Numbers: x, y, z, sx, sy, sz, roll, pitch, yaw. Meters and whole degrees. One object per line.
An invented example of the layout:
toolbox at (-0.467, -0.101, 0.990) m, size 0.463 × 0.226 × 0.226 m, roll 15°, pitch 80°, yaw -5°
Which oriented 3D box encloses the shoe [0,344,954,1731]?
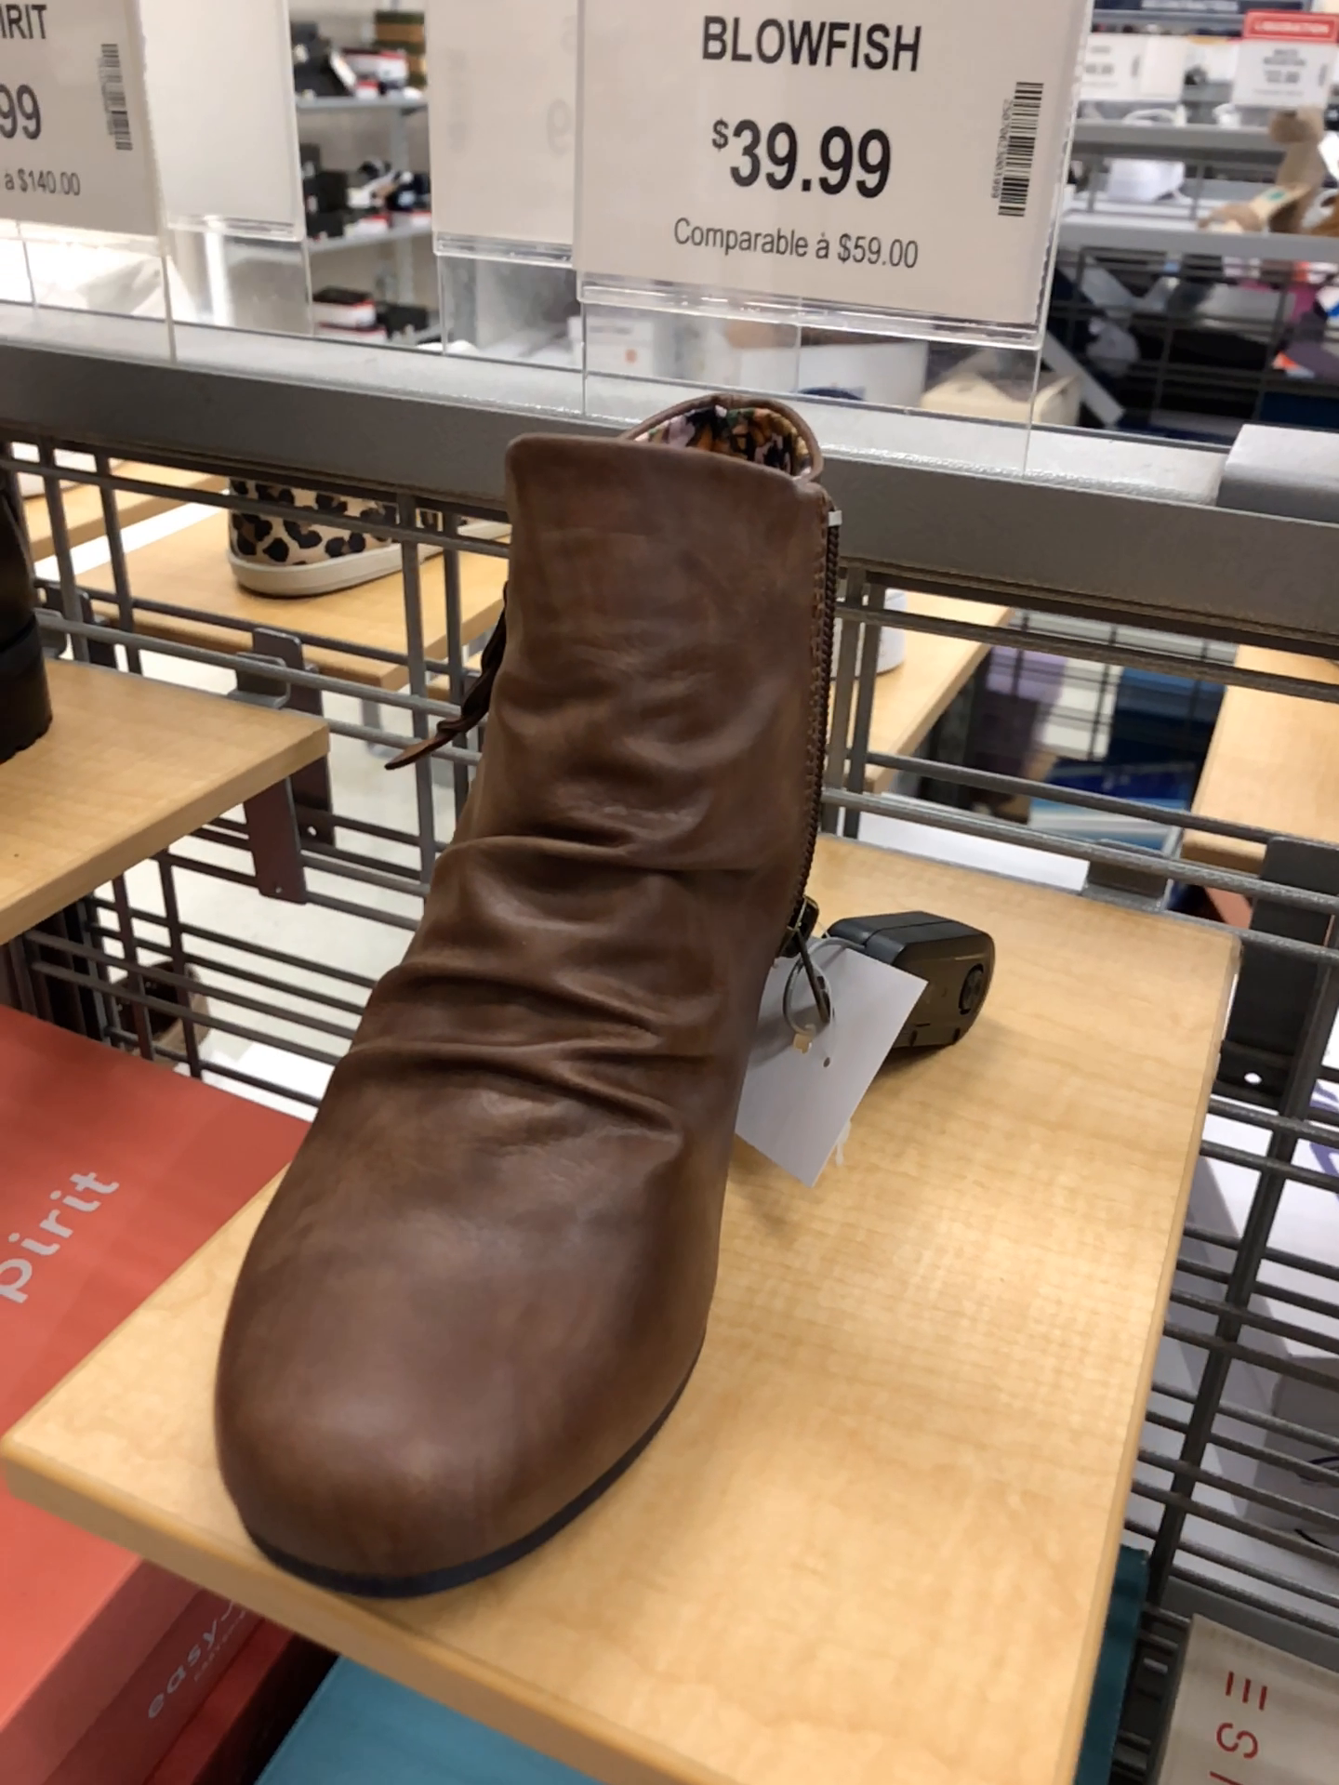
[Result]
shoe at (-0.019, -0.007, 0.277) m, size 0.090 × 0.139 × 0.232 m, roll 11°, pitch 31°, yaw 15°
